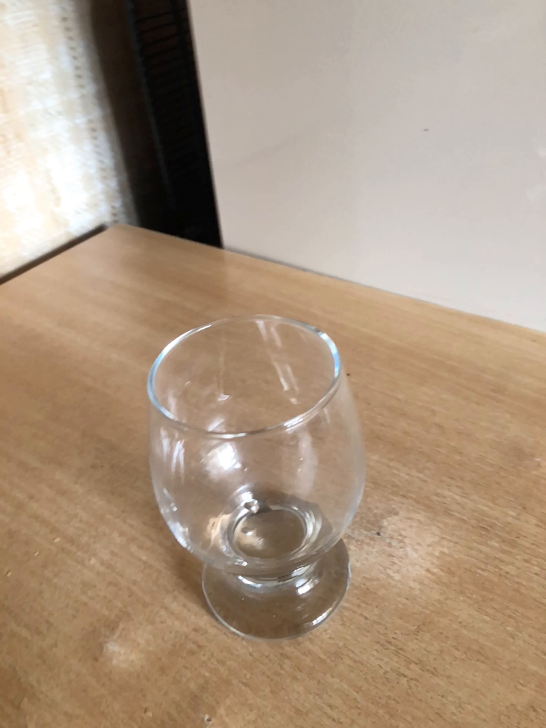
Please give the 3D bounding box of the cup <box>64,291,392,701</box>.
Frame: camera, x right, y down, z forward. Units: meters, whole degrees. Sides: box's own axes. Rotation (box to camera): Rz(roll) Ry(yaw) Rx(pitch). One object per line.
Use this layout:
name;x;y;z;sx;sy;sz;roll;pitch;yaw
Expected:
cup;-0.008;0.045;0.224;0.074;0.105;0.077;-4;36;3
